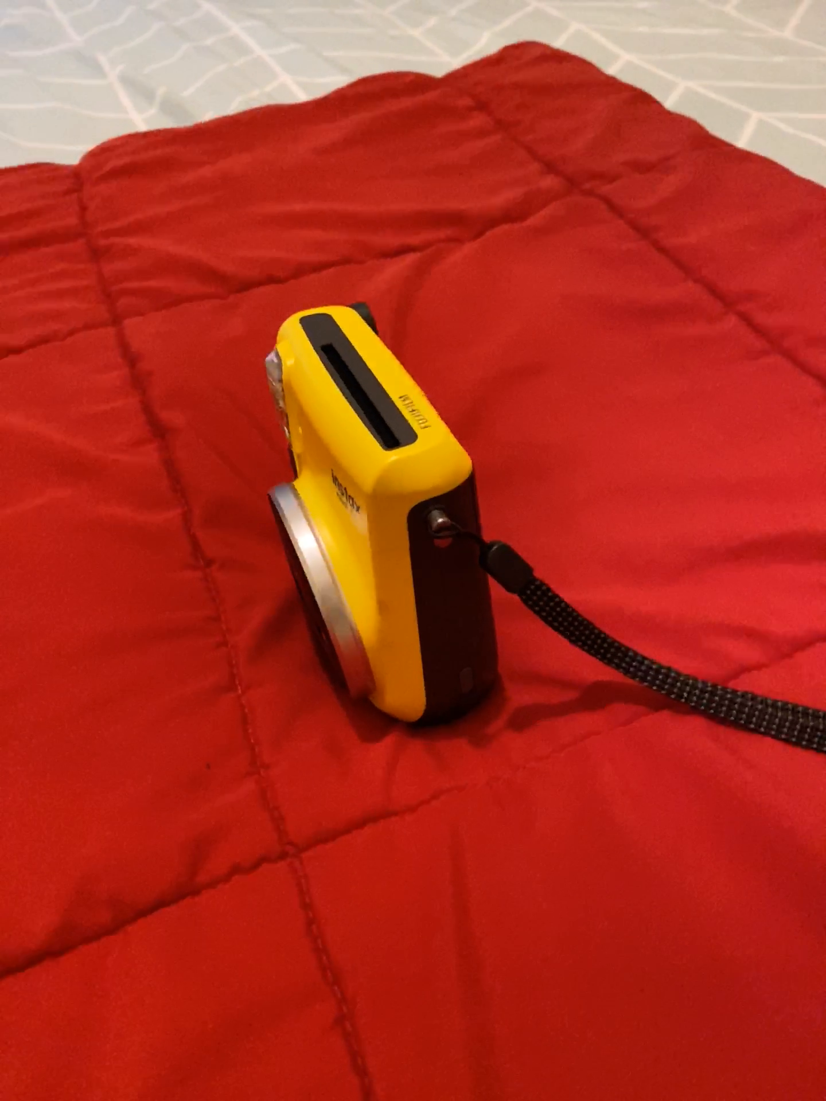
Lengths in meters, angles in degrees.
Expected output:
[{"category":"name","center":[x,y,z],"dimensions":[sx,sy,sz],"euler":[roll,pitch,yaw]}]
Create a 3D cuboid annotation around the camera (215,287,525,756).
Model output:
[{"category":"camera","center":[-0.012,-0.010,0.274],"dimensions":[0.057,0.103,0.095],"euler":[-20,45,-12]}]
